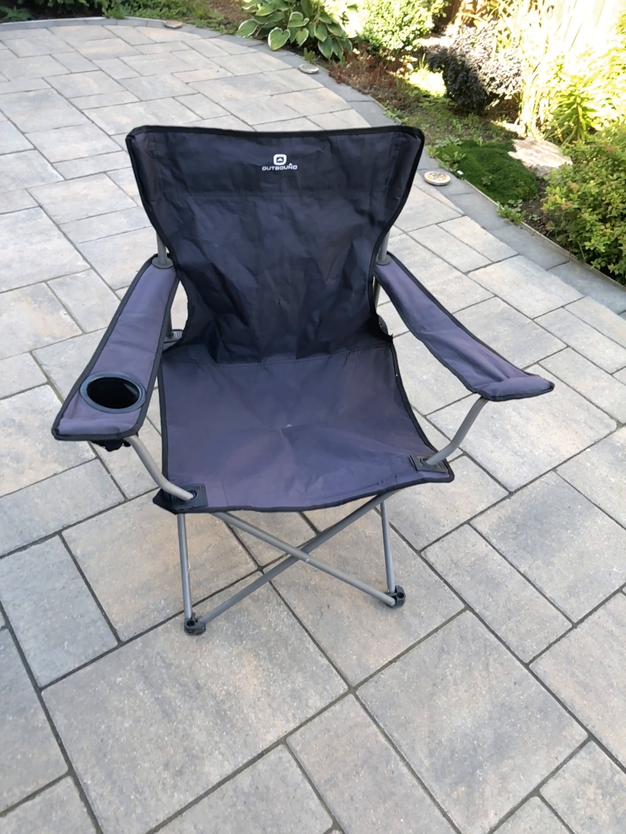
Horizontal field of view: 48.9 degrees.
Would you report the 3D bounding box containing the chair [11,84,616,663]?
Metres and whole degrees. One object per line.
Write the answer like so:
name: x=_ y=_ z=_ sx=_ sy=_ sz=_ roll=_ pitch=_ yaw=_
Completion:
chair: x=-0.058 y=-0.066 z=1.248 sx=0.690 sy=0.817 sz=0.572 roll=-4 pitch=45 yaw=-11
